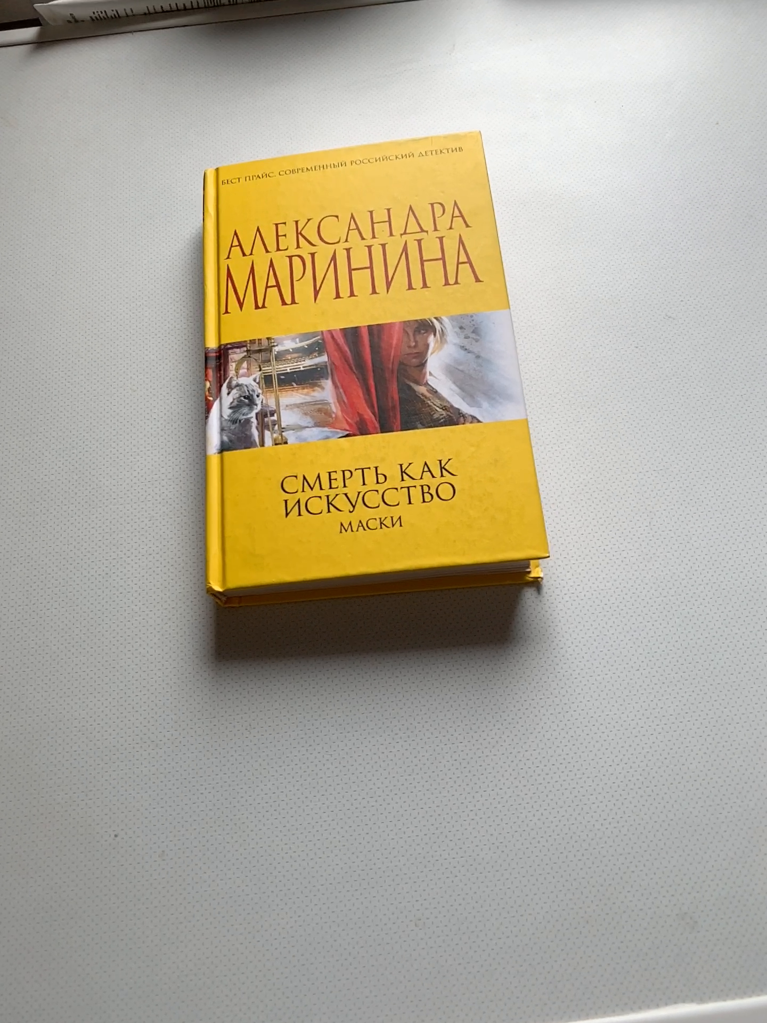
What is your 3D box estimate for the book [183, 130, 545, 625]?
[{"bbox_3d":[-0.014,-0.058,0.306,0.120,0.030,0.189,-6,69,2],"label":"book"}]
